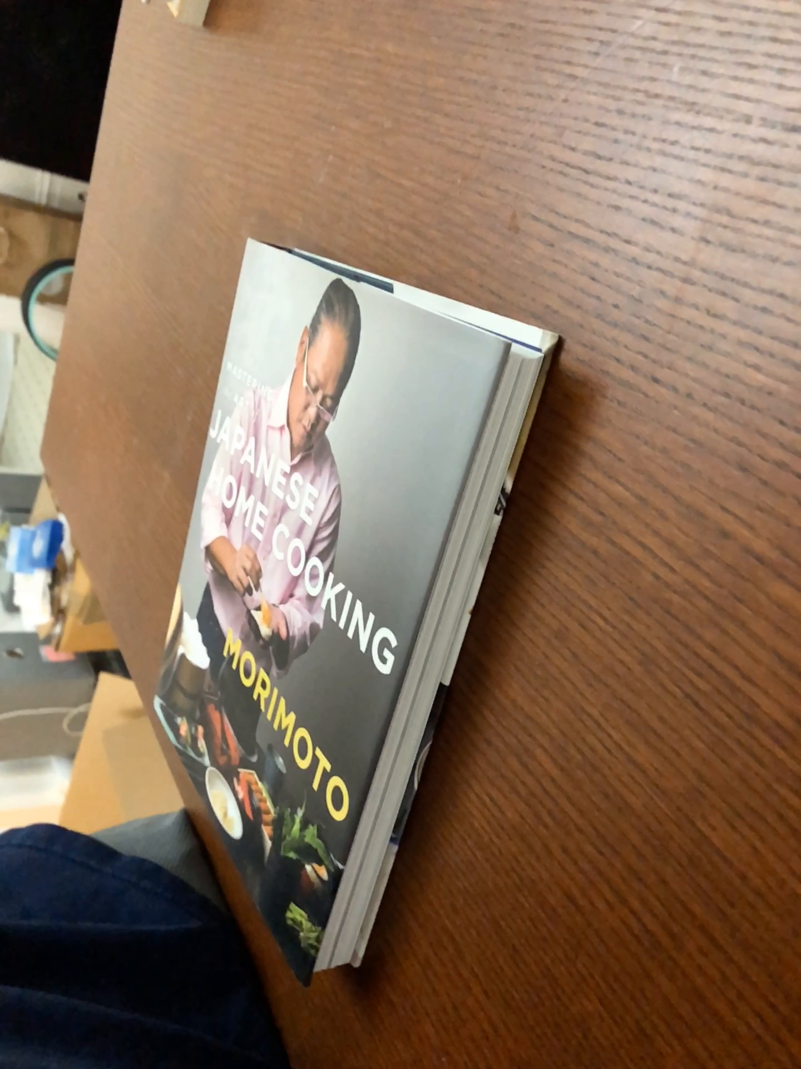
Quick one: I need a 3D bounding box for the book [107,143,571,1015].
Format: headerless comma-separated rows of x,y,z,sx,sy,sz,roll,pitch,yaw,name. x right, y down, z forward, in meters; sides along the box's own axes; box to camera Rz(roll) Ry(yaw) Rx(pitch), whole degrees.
-0.058,0.000,0.382,0.221,0.030,0.300,39,118,50,book
